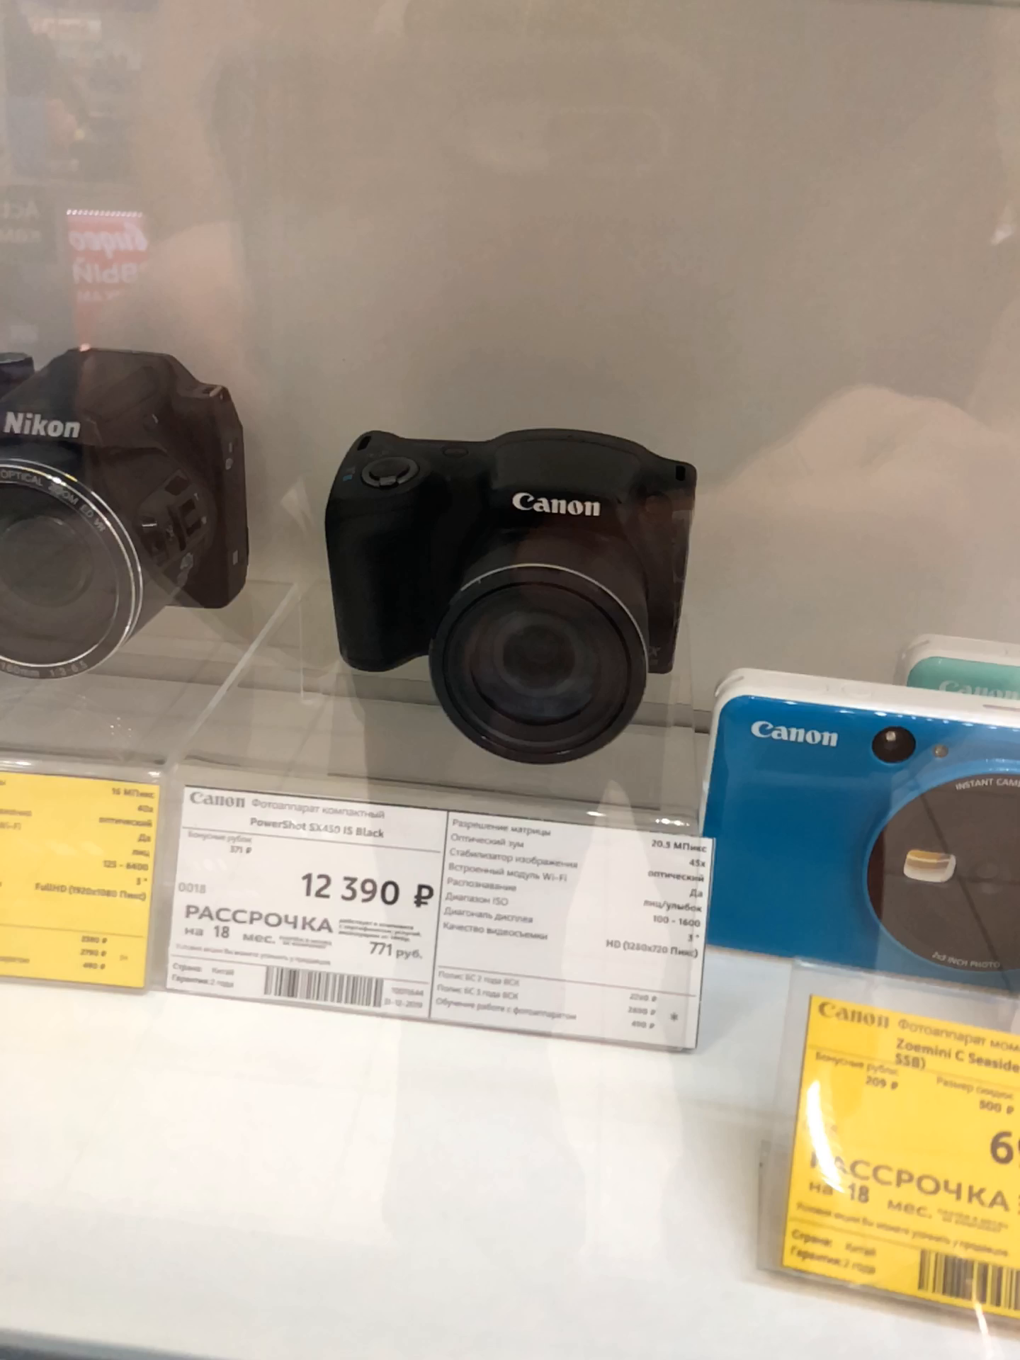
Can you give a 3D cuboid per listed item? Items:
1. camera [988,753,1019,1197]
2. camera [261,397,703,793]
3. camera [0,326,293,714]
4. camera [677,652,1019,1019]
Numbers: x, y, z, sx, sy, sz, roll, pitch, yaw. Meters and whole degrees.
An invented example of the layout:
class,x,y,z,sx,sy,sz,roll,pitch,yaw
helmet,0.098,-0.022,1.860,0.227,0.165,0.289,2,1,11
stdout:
class,x,y,z,sx,sy,sz,roll,pitch,yaw
camera,0.175,0.062,0.241,0.118,0.073,0.028,7,26,8
camera,-0.003,-0.029,0.308,0.100,0.070,0.093,6,26,6
camera,-0.124,-0.050,0.312,0.100,0.073,0.093,6,26,6
camera,0.107,0.039,0.288,0.118,0.073,0.028,7,26,8
